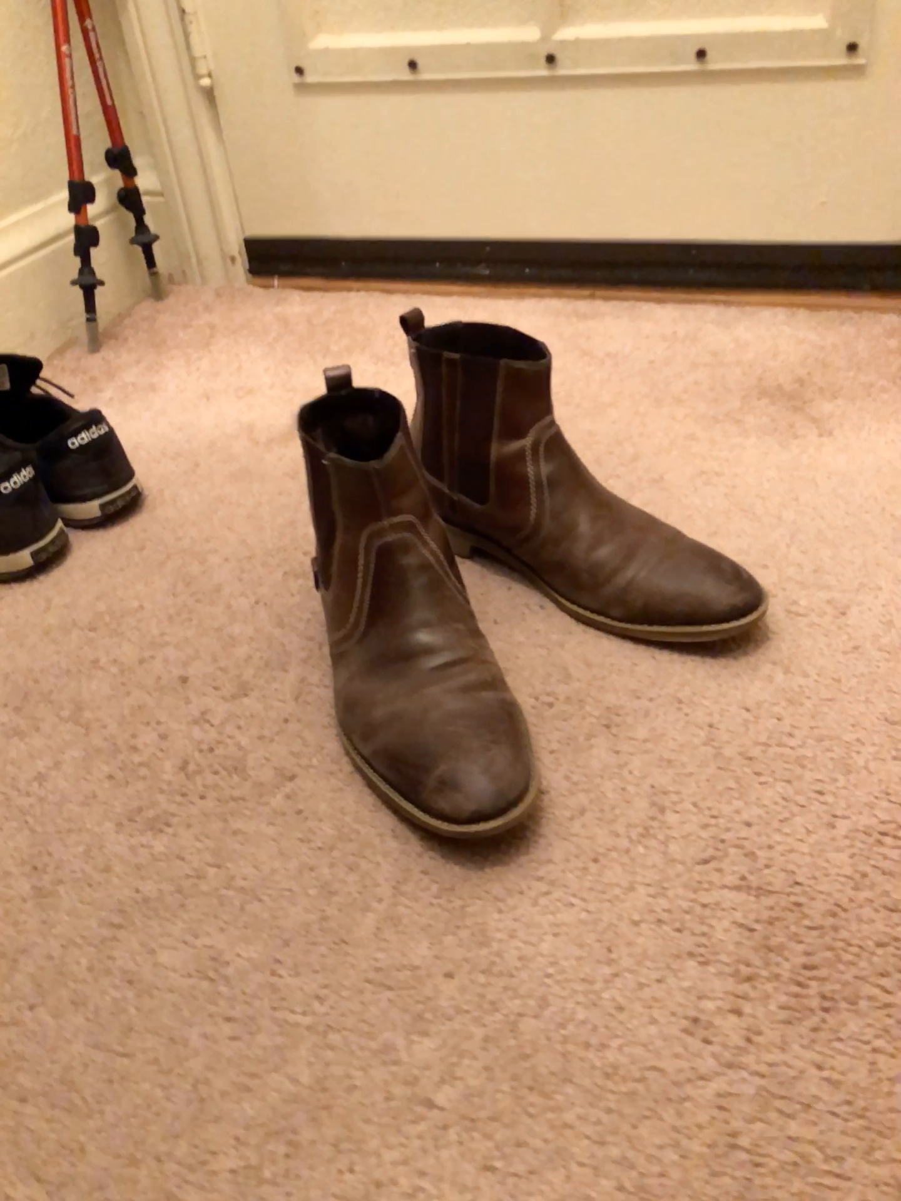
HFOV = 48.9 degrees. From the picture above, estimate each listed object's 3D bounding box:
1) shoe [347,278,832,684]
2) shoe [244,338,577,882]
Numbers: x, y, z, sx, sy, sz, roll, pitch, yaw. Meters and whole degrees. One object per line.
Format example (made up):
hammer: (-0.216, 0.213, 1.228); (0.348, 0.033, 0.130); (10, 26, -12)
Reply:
shoe: (0.081, -0.097, 0.679); (0.119, 0.158, 0.298); (-34, 45, -31)
shoe: (-0.034, -0.016, 0.590); (0.119, 0.158, 0.299); (-13, 38, -8)
